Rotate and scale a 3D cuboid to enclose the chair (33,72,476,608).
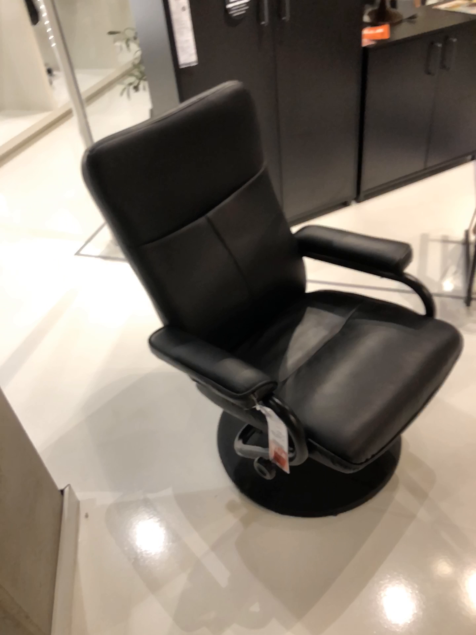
[{"bbox_3d":[0.122,0.021,1.384,0.733,0.992,0.693,28,51,35],"label":"chair"}]
